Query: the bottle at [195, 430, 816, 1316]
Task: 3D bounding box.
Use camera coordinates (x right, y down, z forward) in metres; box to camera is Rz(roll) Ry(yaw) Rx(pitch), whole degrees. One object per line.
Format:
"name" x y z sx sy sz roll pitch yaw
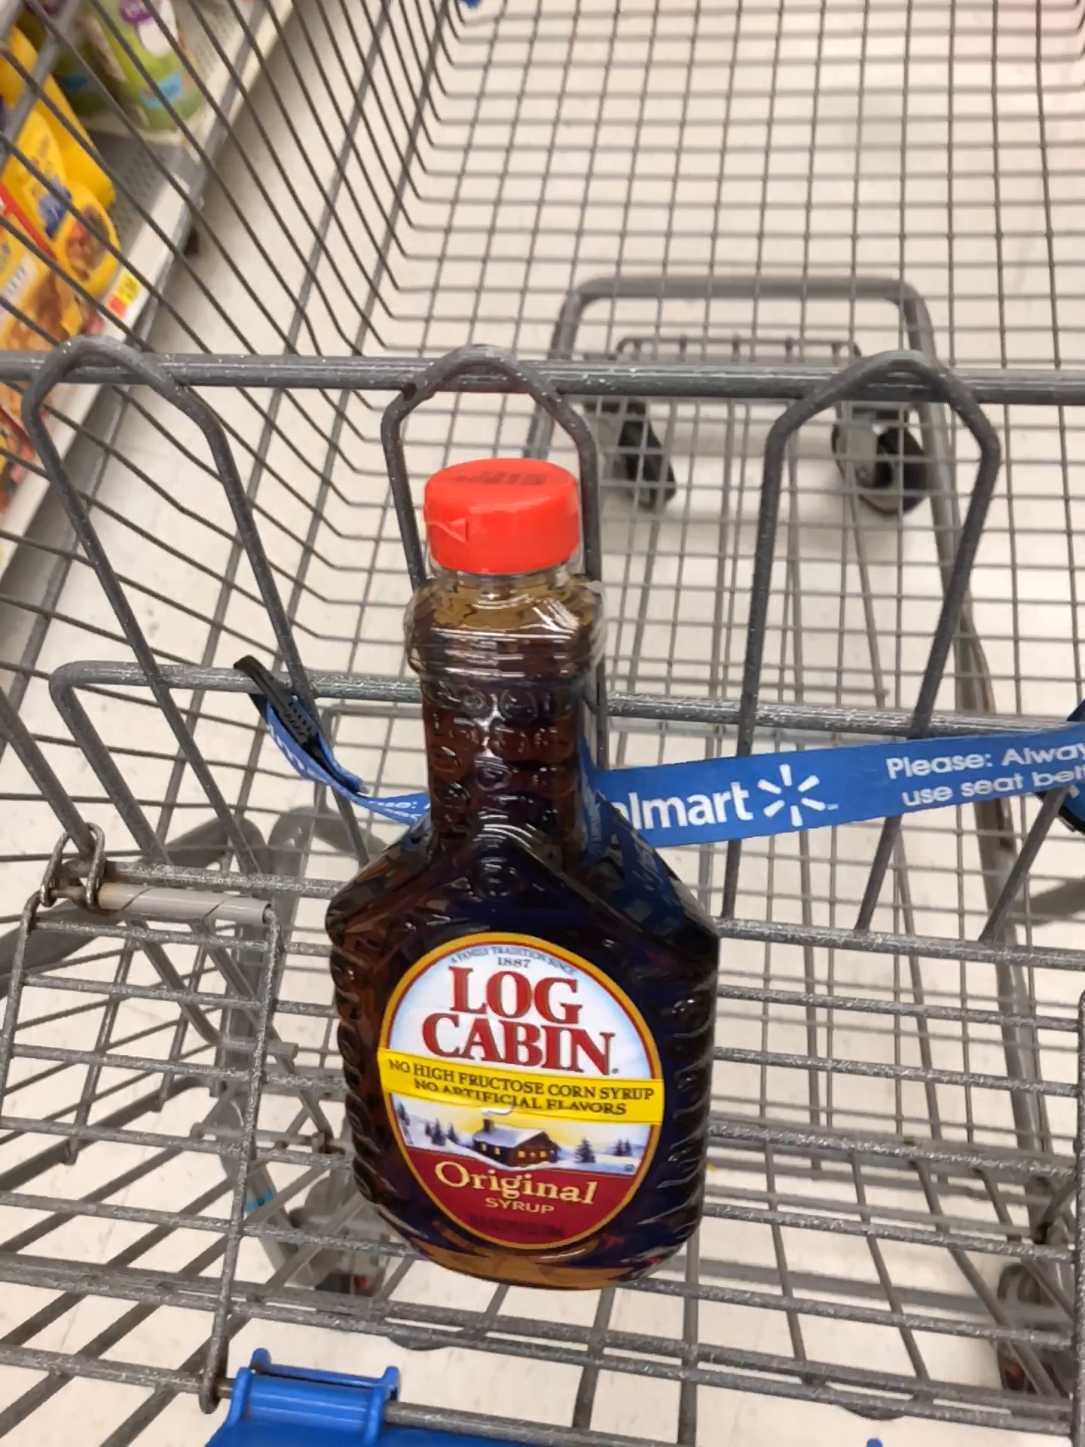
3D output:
"bottle" 0.000 0.050 0.316 0.120 0.240 0.060 3 32 9
